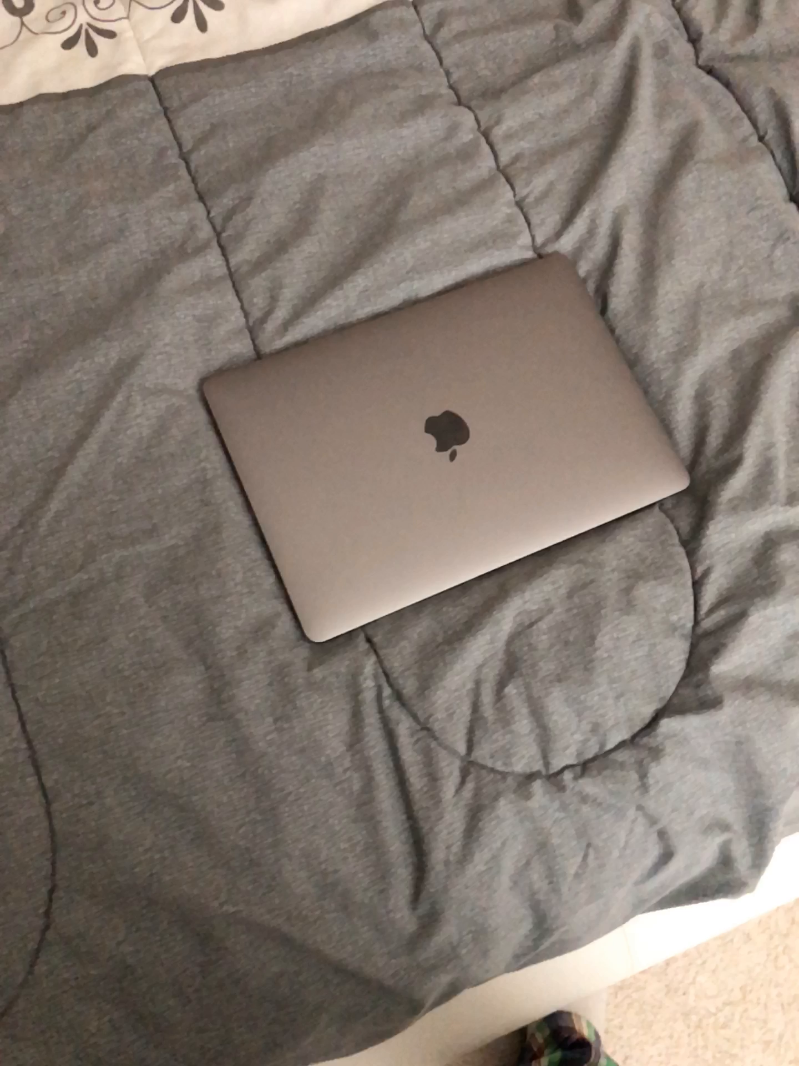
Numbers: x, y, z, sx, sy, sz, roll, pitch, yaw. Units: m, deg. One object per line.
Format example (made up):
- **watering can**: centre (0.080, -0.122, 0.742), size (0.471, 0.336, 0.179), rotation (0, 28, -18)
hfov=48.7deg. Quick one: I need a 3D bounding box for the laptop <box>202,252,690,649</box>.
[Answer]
- **laptop**: centre (0.035, -0.070, 0.641), size (0.295, 0.008, 0.207), rotation (-22, 77, -11)
